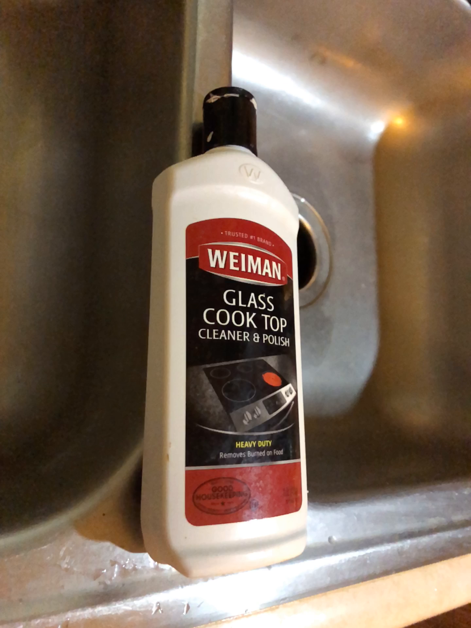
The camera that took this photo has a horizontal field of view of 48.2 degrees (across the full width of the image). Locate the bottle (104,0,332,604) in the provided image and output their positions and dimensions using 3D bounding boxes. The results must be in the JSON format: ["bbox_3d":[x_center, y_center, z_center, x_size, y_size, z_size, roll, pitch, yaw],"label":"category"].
[{"bbox_3d":[-0.009,-0.014,0.239,0.080,0.050,0.240,6,78,-34],"label":"bottle"}]
